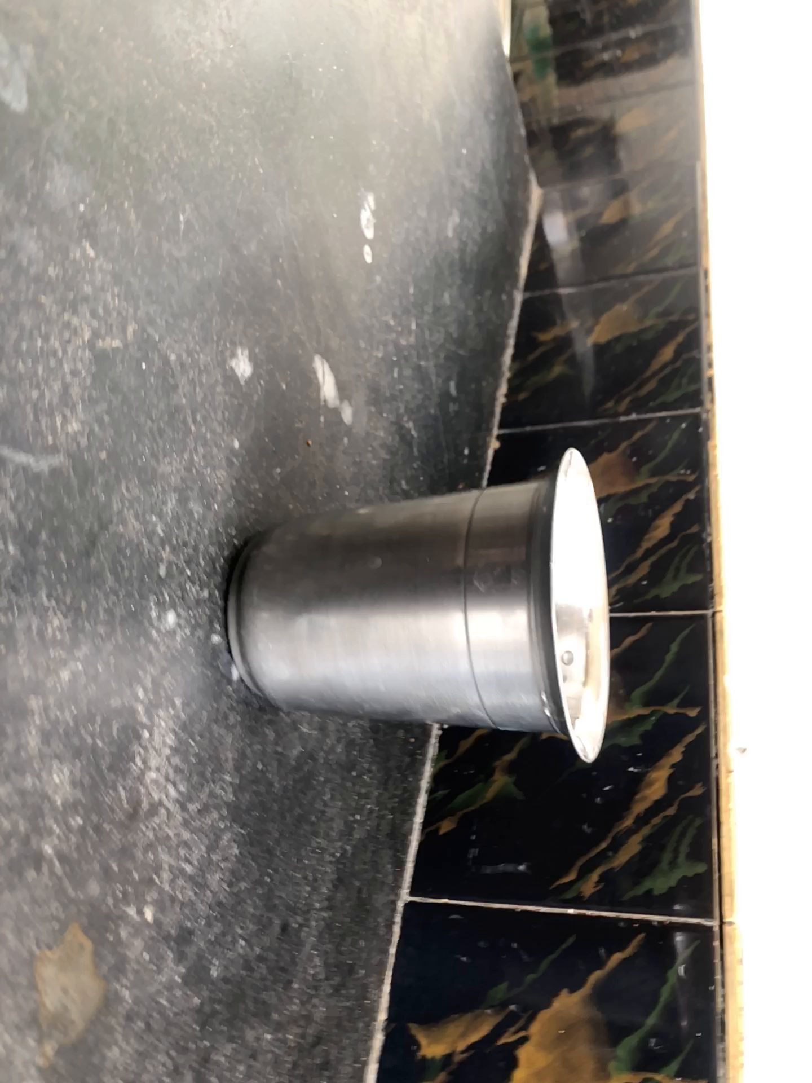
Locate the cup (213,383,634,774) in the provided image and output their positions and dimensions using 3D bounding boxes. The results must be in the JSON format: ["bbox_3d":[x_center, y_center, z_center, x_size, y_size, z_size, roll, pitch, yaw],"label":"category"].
[{"bbox_3d":[0.014,0.018,0.281,0.091,0.099,0.090,-3,90,-70],"label":"cup"}]
